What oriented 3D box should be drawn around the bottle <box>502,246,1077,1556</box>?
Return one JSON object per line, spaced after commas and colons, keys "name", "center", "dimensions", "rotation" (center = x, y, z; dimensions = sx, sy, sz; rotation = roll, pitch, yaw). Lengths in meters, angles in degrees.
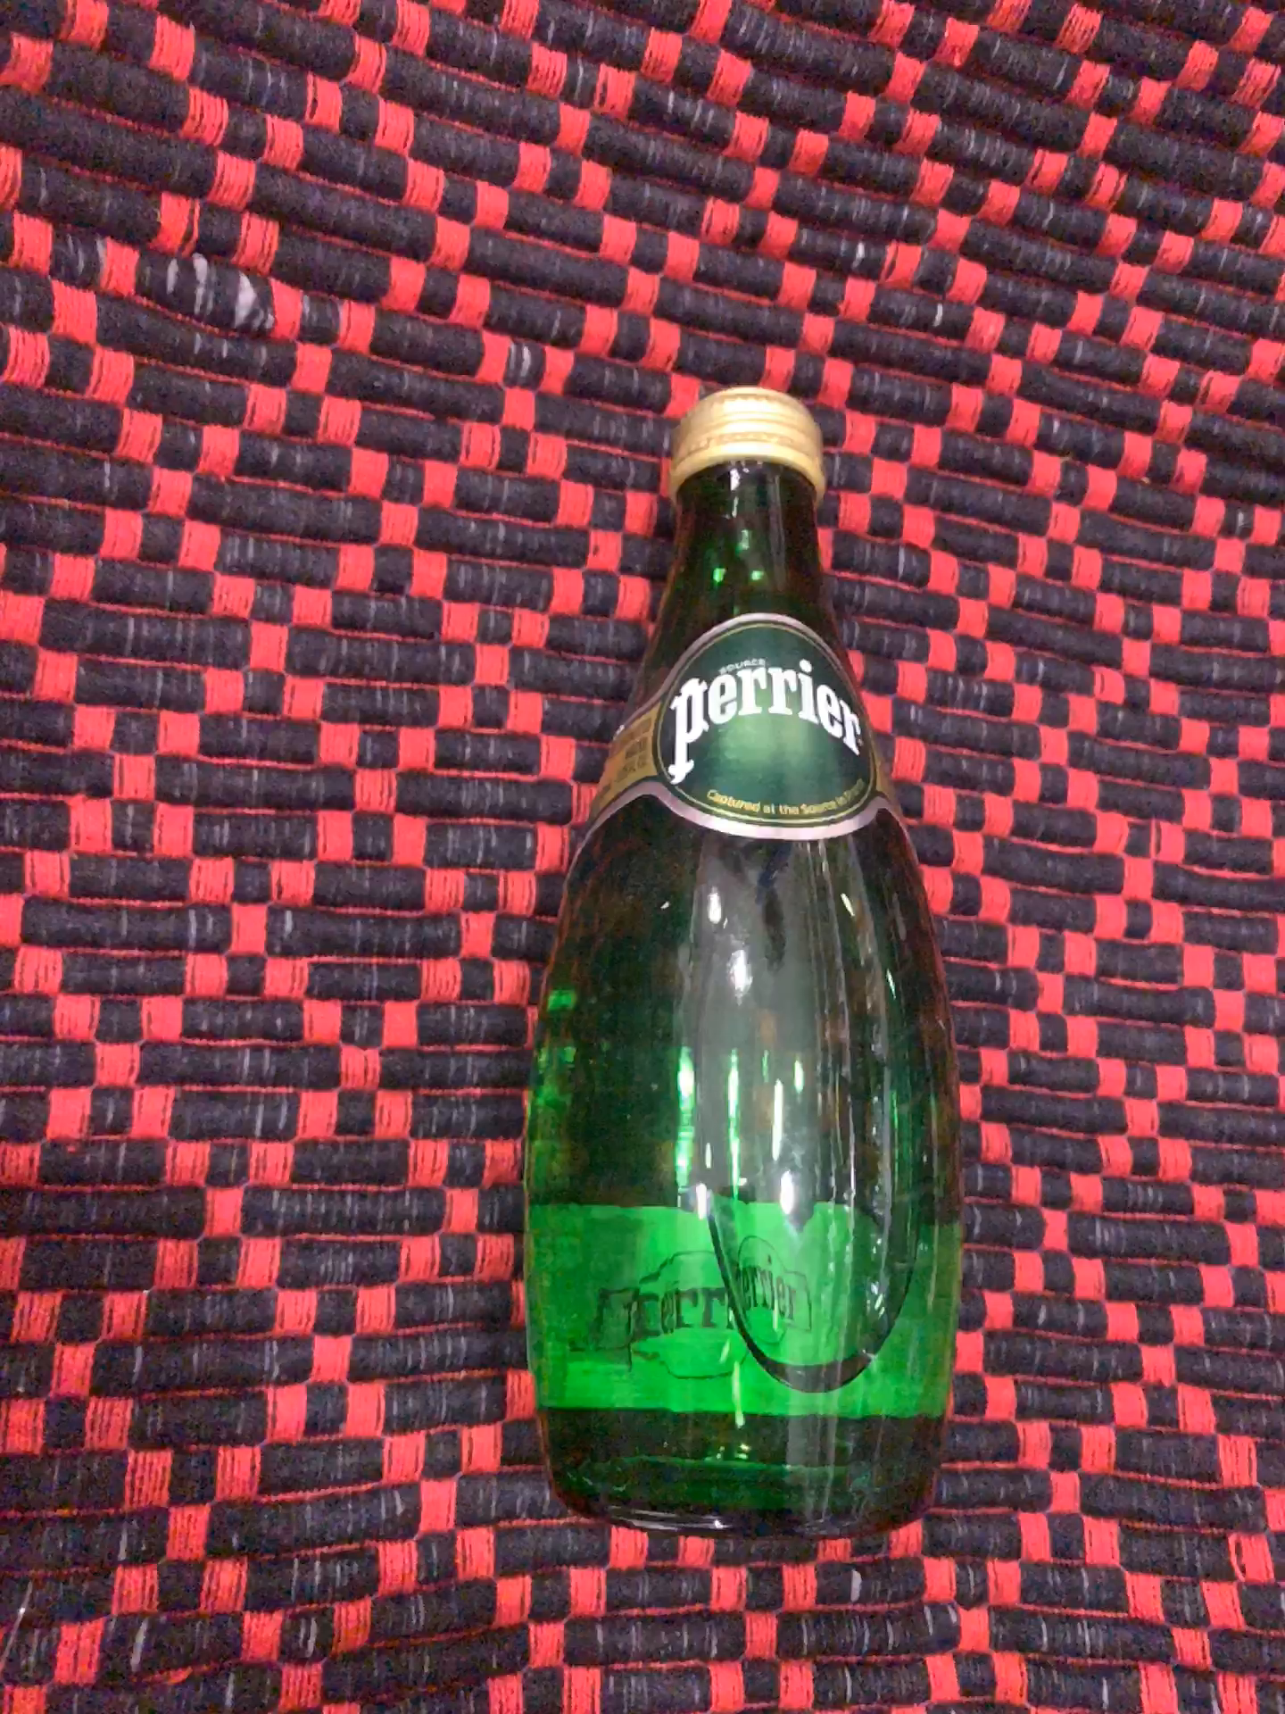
{"name": "bottle", "center": [0.018, 0.005, 0.217], "dimensions": [0.070, 0.070, 0.180], "rotation": [4, 75, -5]}
